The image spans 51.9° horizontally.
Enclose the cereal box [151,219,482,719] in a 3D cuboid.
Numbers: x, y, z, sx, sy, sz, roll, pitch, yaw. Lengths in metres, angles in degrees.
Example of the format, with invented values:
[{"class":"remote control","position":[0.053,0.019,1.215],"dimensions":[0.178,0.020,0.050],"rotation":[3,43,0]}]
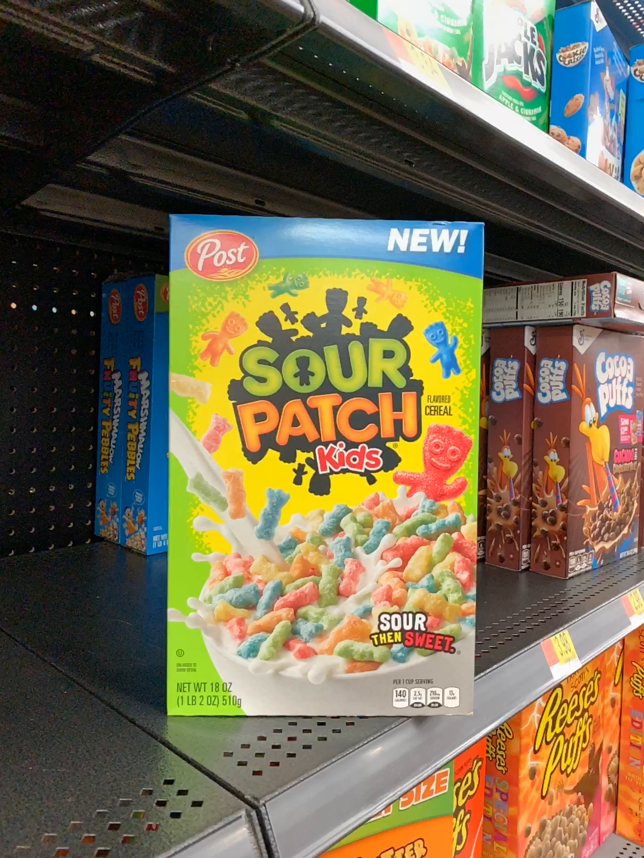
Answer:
[{"class":"cereal box","position":[-0.006,0.027,0.453],"dimensions":[0.200,0.310,0.080],"rotation":[1,2,-3]}]
